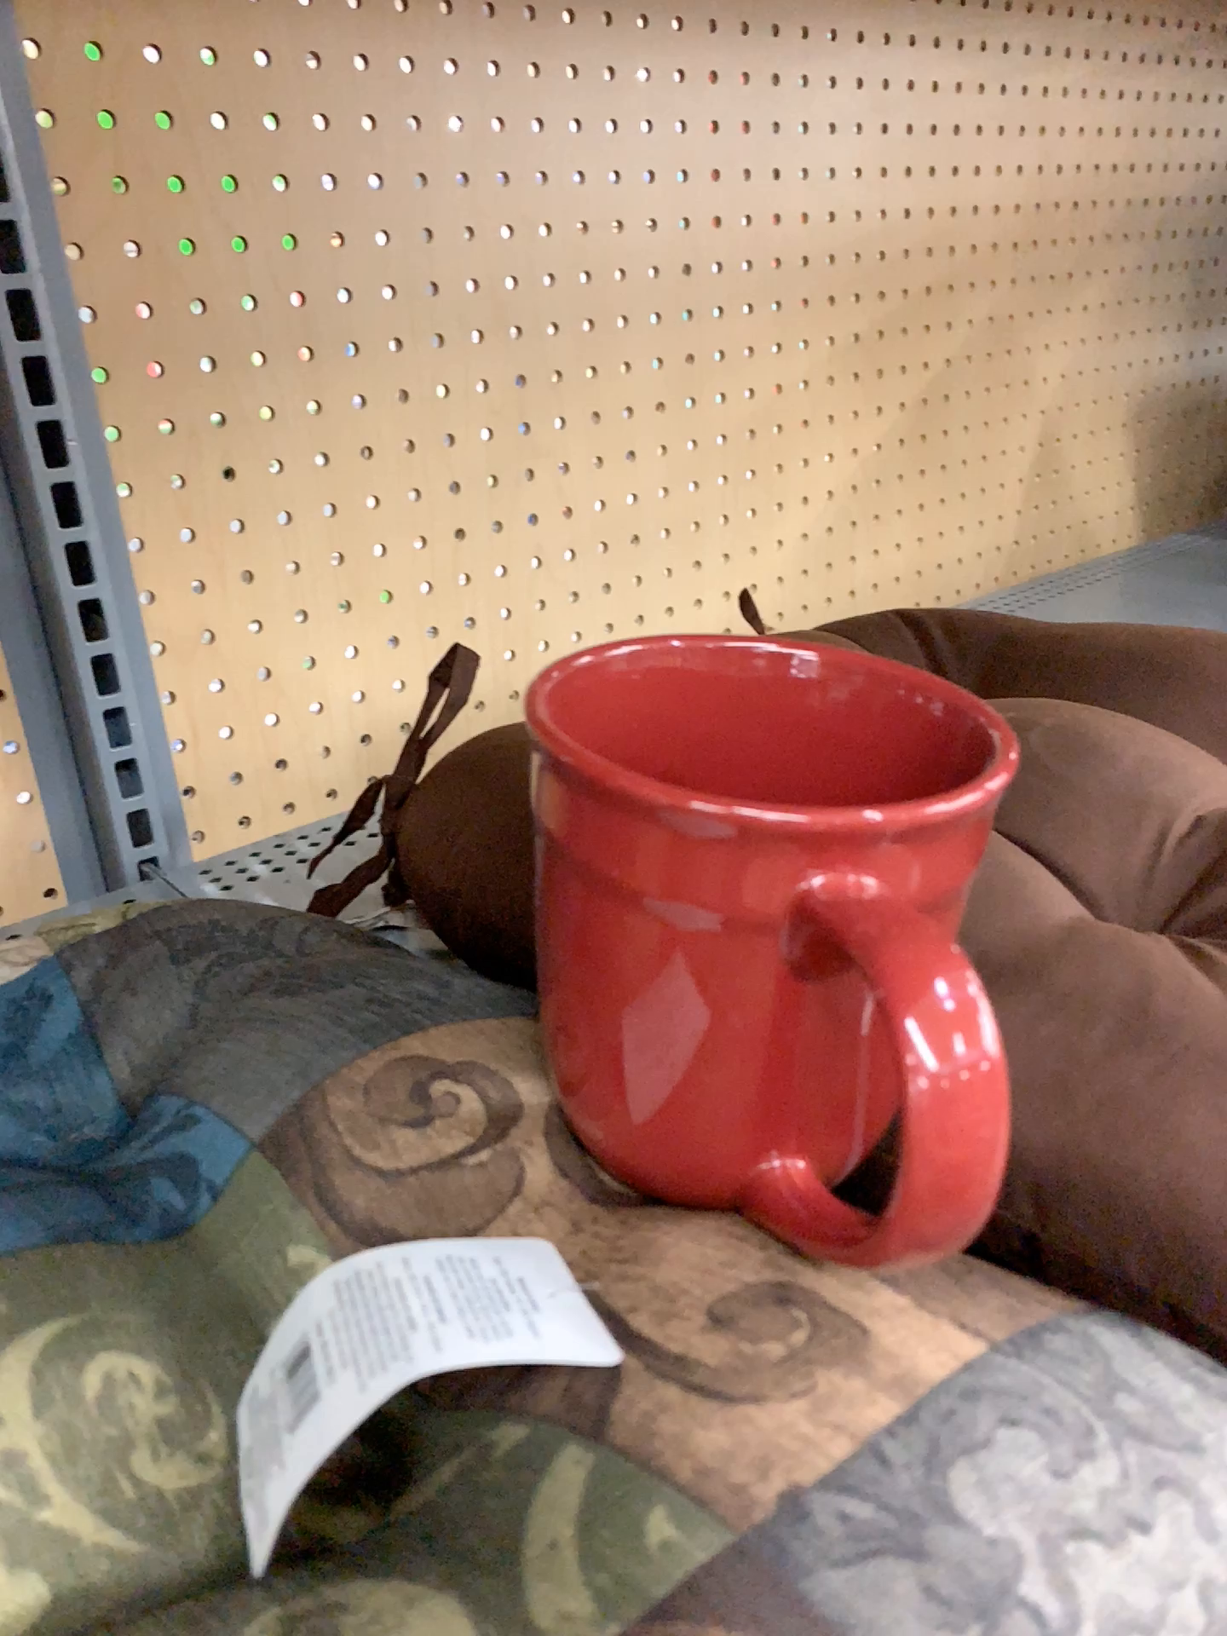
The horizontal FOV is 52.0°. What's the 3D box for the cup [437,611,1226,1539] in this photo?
[{"bbox_3d":[0.028,0.027,0.238,0.100,0.090,0.151,-3,26,-16],"label":"cup"}]
